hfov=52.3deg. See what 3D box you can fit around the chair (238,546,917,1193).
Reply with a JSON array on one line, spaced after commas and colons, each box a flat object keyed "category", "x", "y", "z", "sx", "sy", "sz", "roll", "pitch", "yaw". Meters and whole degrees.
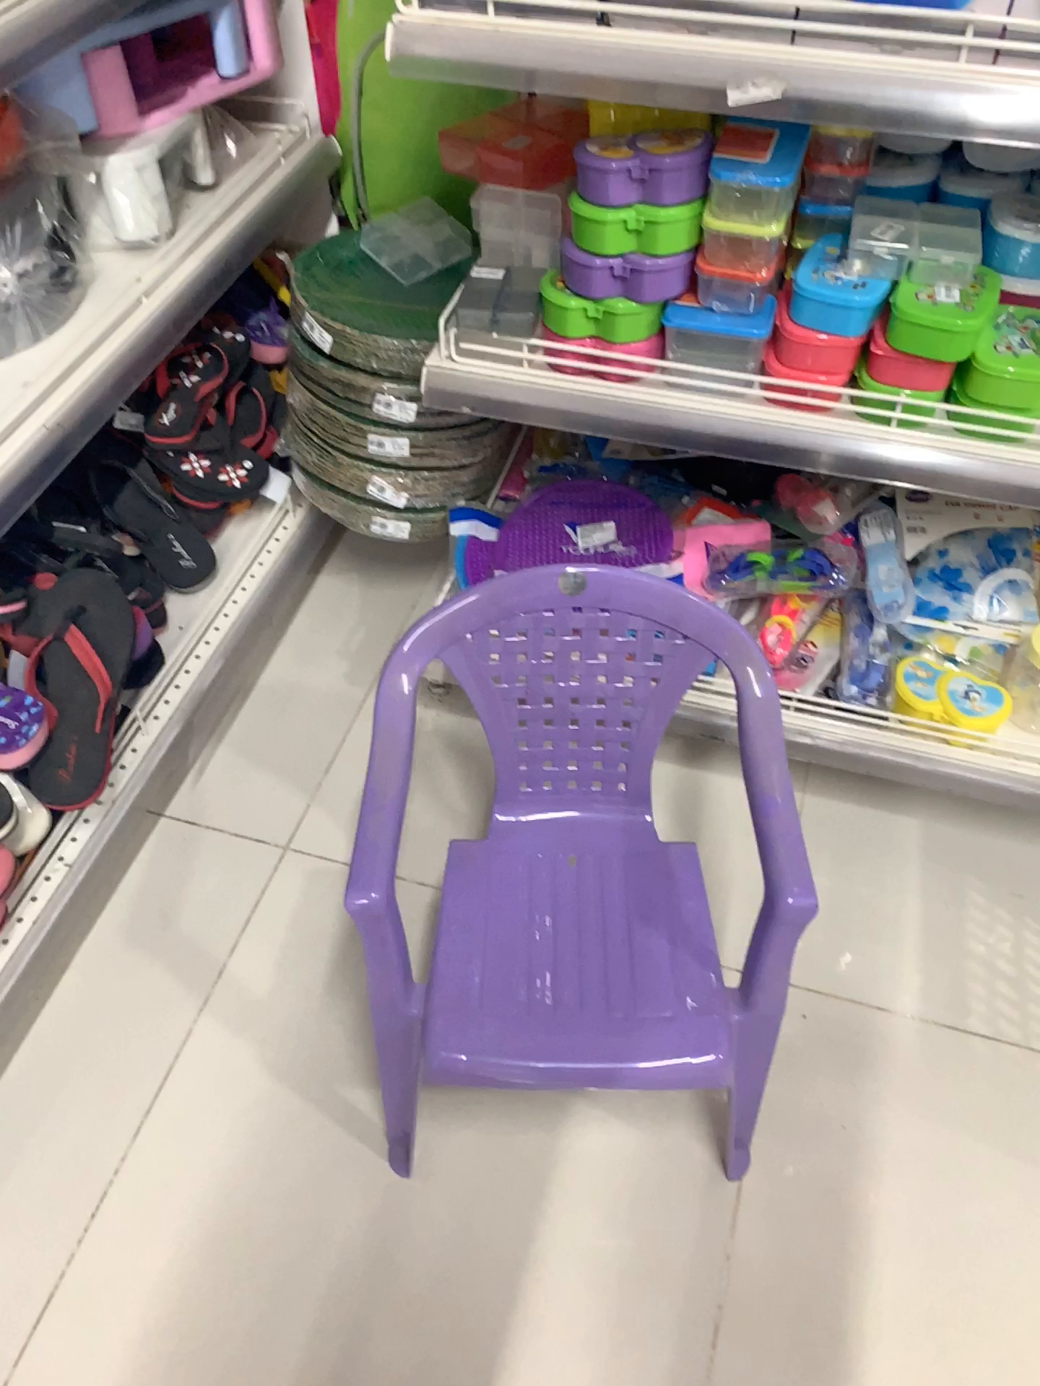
[{"category": "chair", "x": 0.038, "y": 0.169, "z": 0.949, "sx": 0.420, "sy": 0.429, "sz": 0.401, "roll": -1, "pitch": 50, "yaw": 1}]
